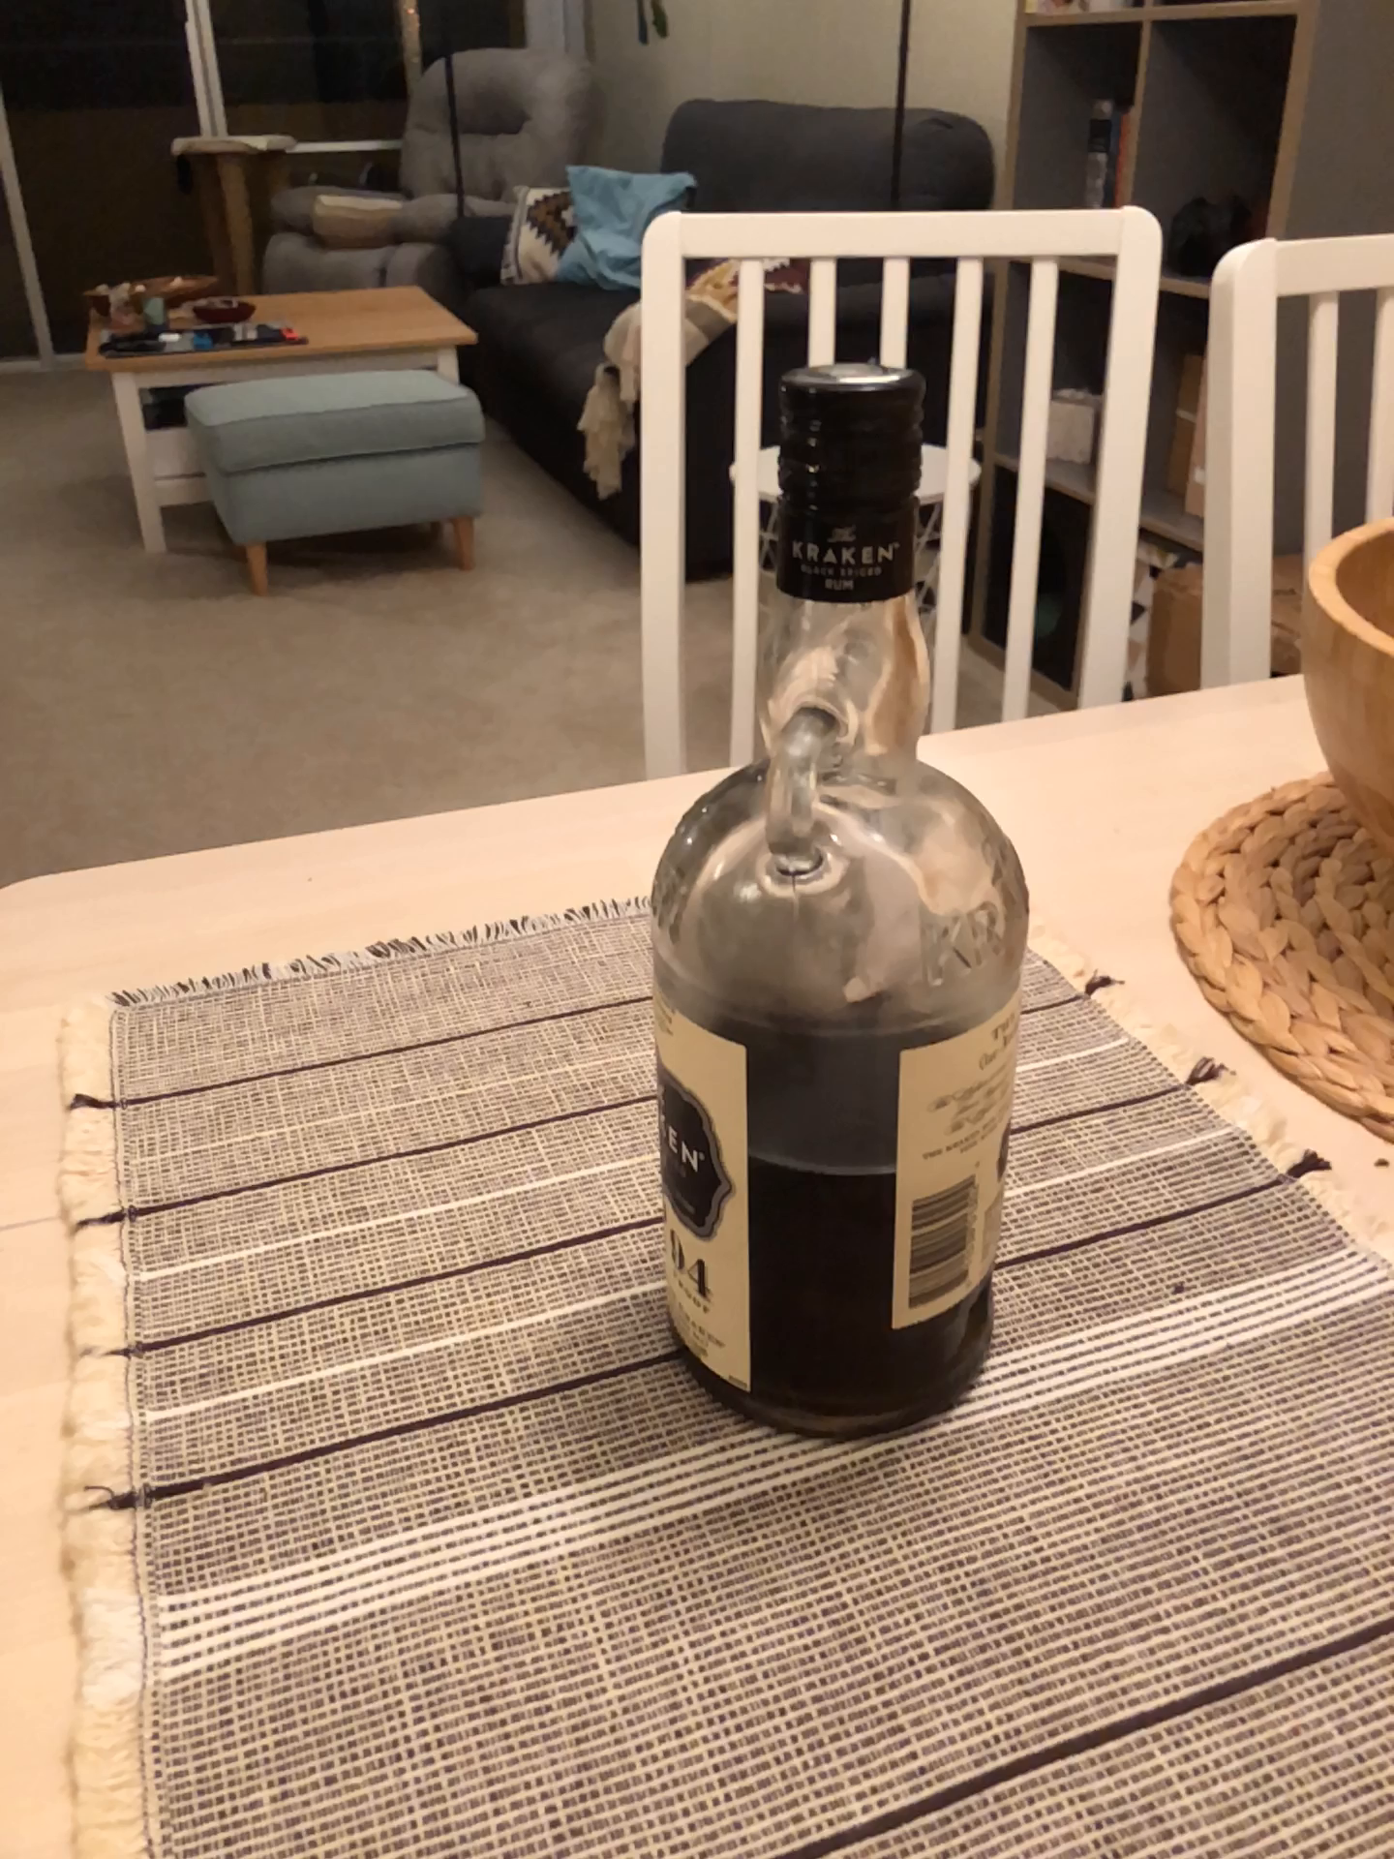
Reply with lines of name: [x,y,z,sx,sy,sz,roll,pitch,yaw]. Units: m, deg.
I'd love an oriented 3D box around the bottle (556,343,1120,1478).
bottle: [0.036,-0.002,0.373,0.100,0.248,0.101,-1,29,0]
